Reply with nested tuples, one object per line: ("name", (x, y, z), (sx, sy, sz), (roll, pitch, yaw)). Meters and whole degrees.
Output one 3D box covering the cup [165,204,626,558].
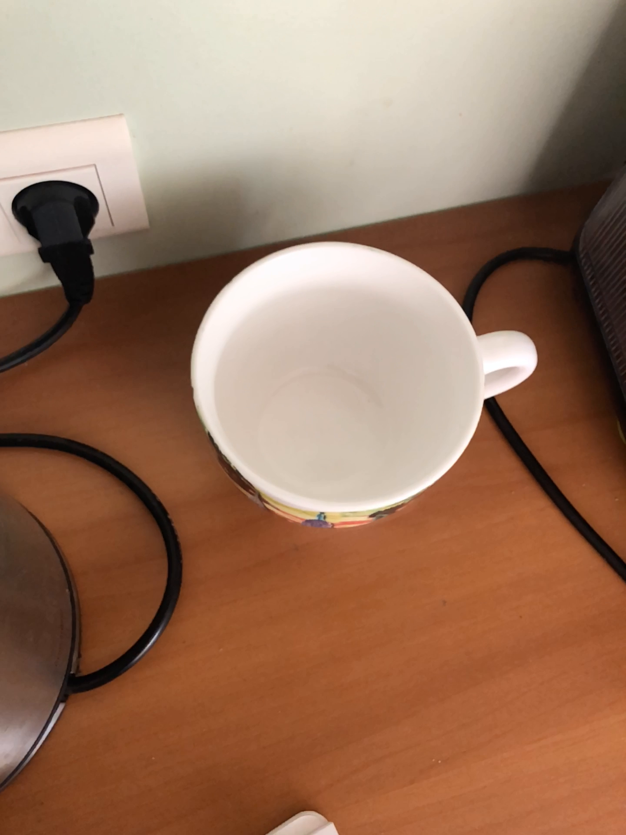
("cup", (0.030, -0.017, 0.314), (0.170, 0.070, 0.120), (-8, 69, -8))
